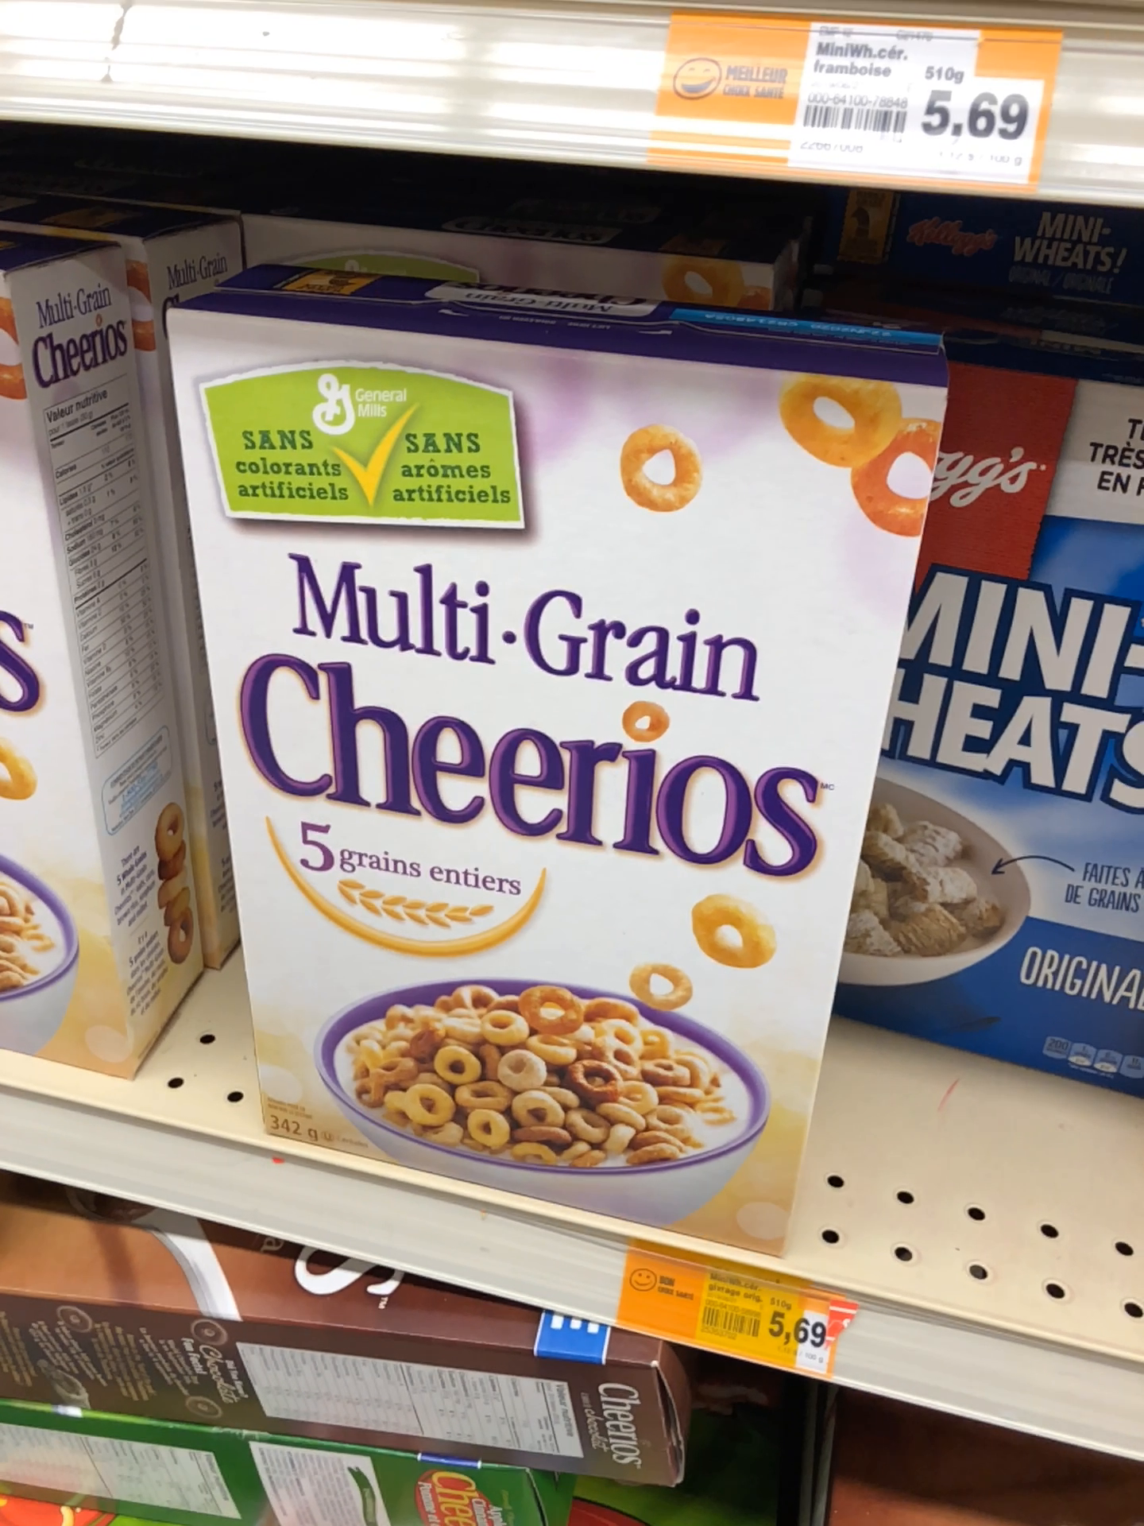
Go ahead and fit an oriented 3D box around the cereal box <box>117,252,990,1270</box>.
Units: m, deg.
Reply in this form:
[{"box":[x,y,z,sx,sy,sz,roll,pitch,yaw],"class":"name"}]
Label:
[{"box":[-0.009,0.010,0.376,0.200,0.278,0.060,10,32,12],"class":"cereal box"}]
